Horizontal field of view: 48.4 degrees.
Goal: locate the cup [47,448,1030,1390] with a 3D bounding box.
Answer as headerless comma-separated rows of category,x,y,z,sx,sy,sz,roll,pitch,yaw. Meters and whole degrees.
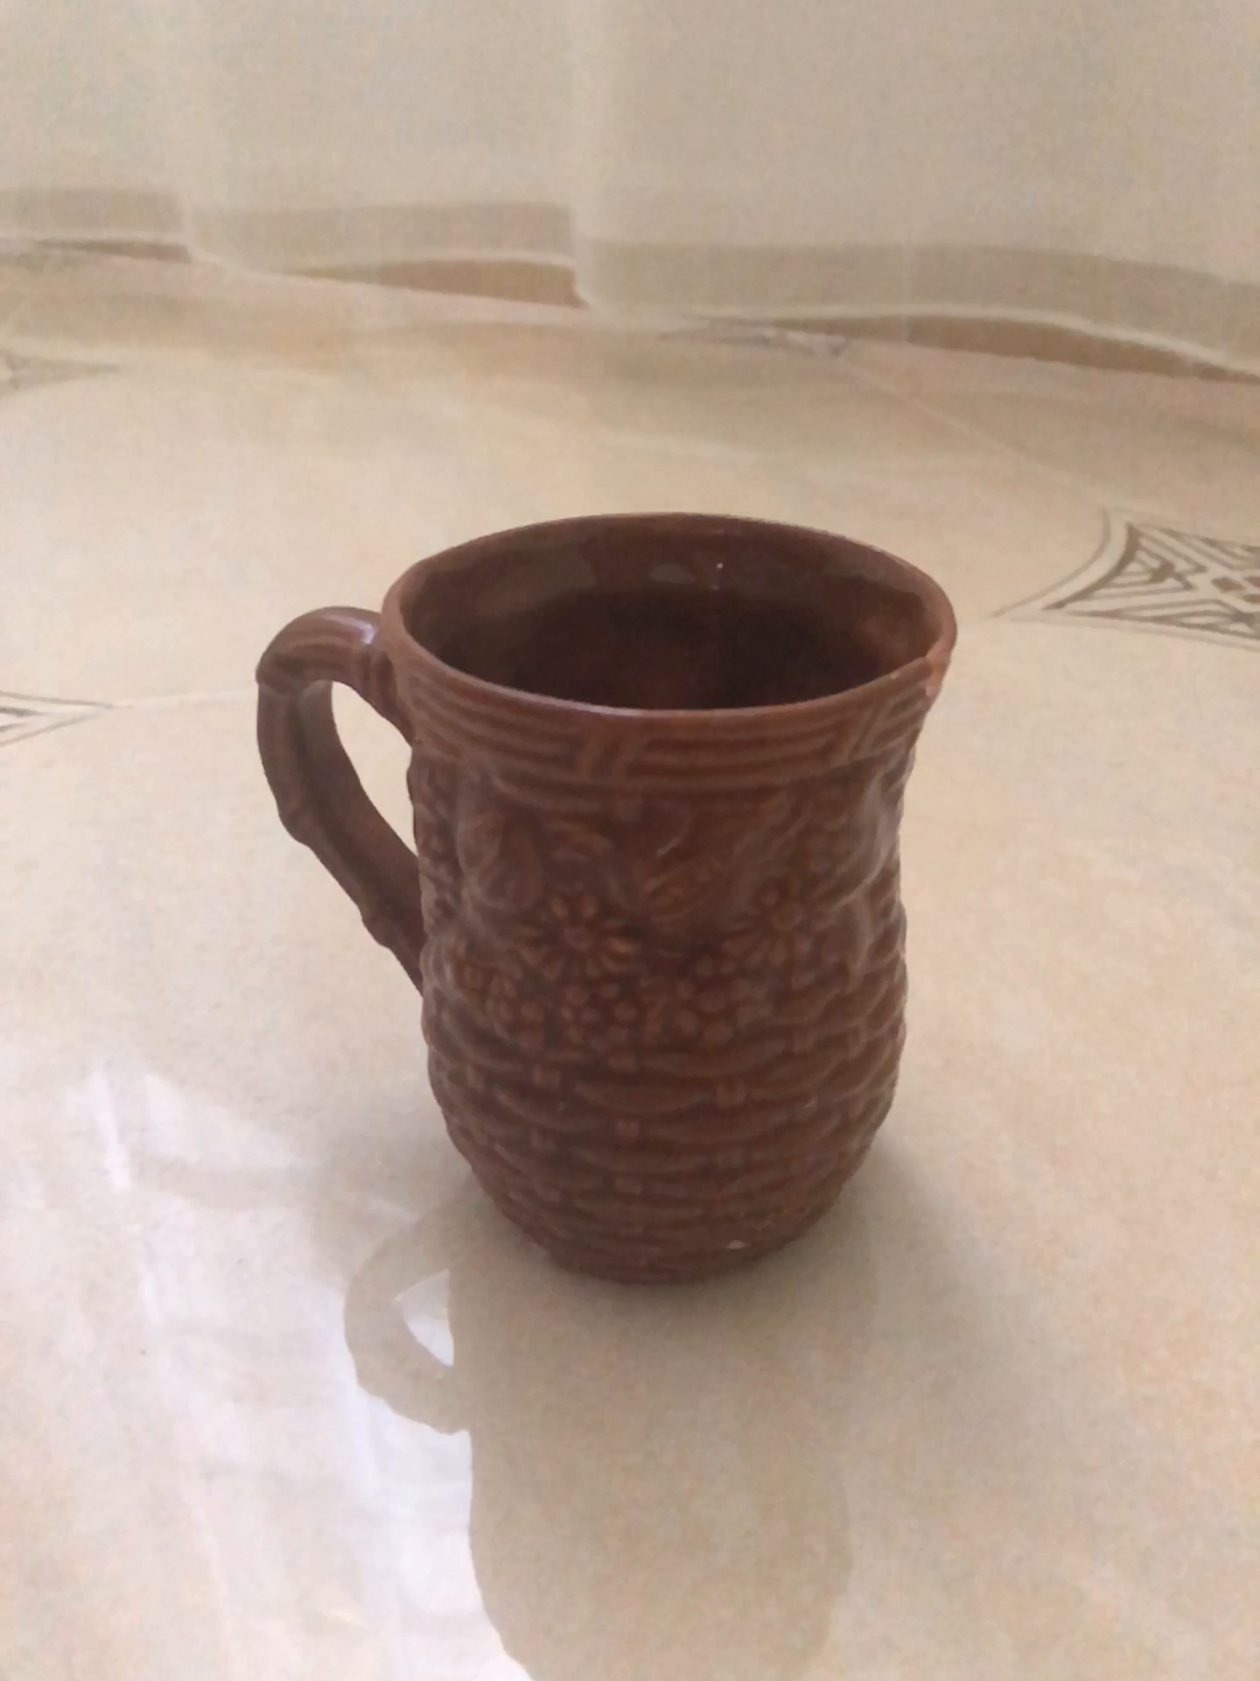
cup,-0.012,0.000,0.201,0.105,0.081,0.073,20,35,32
